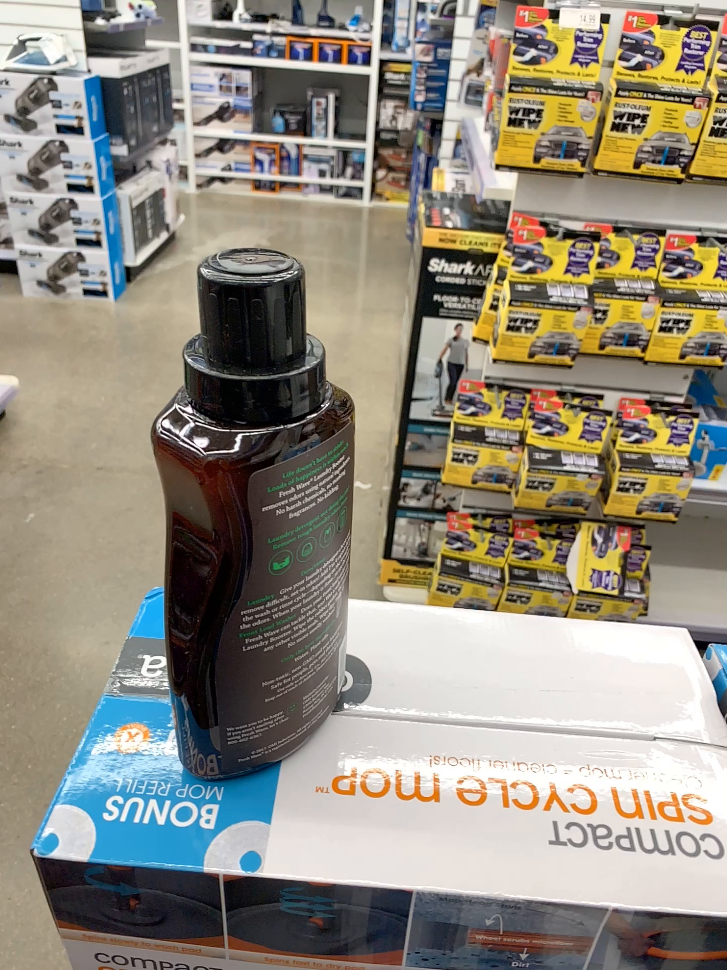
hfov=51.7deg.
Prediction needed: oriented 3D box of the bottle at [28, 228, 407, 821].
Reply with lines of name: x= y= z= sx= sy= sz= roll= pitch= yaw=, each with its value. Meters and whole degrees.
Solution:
bottle: x=-0.052 y=0.019 z=0.303 sx=0.070 sy=0.209 sz=0.100 roll=30 pitch=41 yaw=33
